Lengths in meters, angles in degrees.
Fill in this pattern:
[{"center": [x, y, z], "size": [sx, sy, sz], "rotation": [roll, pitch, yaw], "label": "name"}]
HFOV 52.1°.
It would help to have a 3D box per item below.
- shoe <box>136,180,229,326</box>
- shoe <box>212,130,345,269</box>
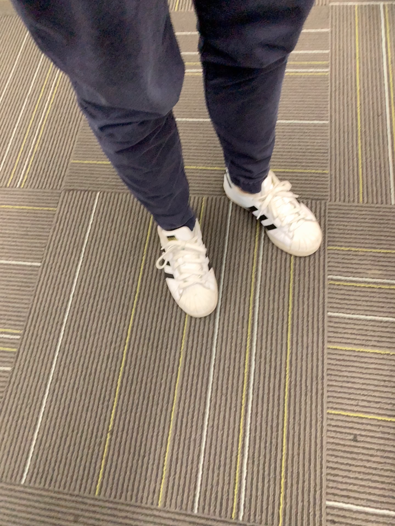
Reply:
[{"center": [-0.031, -0.022, 0.816], "size": [0.105, 0.104, 0.258], "rotation": [-19, 65, -1], "label": "shoe"}, {"center": [0.156, -0.132, 0.831], "size": [0.108, 0.104, 0.263], "rotation": [-36, 67, -8], "label": "shoe"}]
